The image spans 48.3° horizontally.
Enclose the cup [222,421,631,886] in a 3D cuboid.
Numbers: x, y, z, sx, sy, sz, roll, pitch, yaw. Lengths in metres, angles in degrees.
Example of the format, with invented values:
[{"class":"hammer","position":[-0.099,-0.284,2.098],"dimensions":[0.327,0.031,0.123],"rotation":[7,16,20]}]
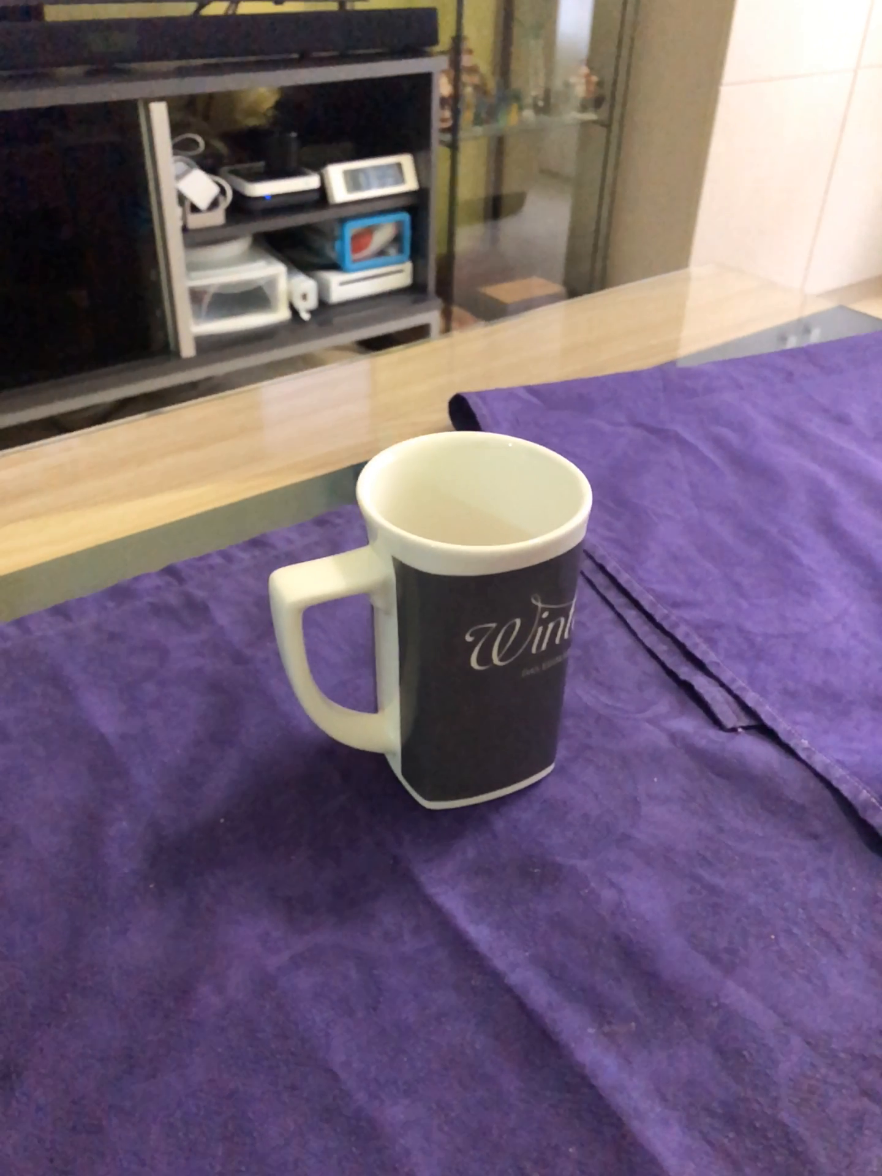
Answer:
[{"class":"cup","position":[-0.007,0.018,0.320],"dimensions":[0.100,0.109,0.070],"rotation":[-14,38,-20]}]
